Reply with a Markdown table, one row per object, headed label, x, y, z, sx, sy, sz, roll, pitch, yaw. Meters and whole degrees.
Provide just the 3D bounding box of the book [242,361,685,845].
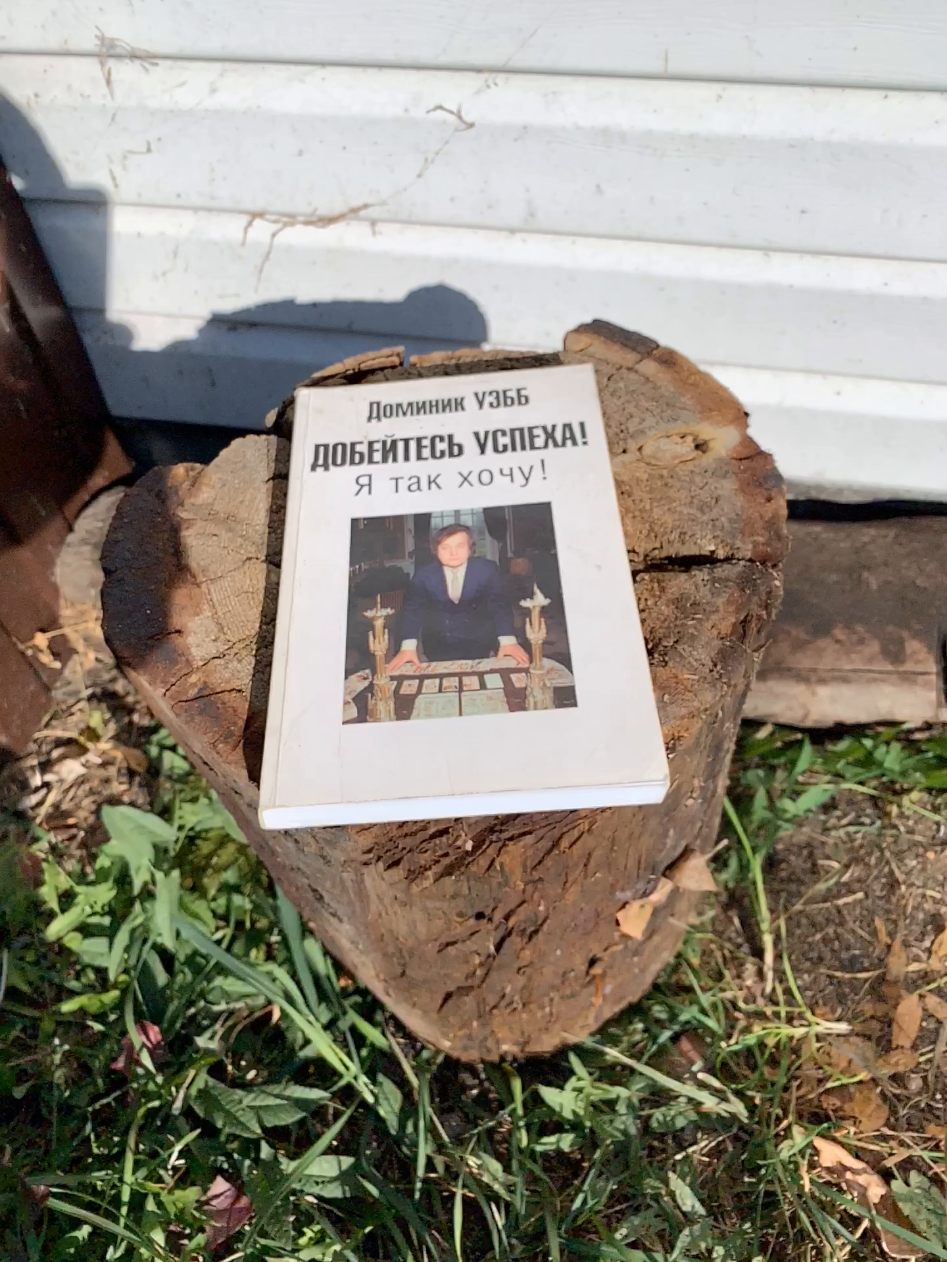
| label | x | y | z | sx | sy | sz | roll | pitch | yaw |
| --- | --- | --- | --- | --- | --- | --- | --- | --- | --- |
| book | -0.008 | -0.024 | 0.379 | 0.139 | 0.020 | 0.211 | -4 | 53 | 1 |
